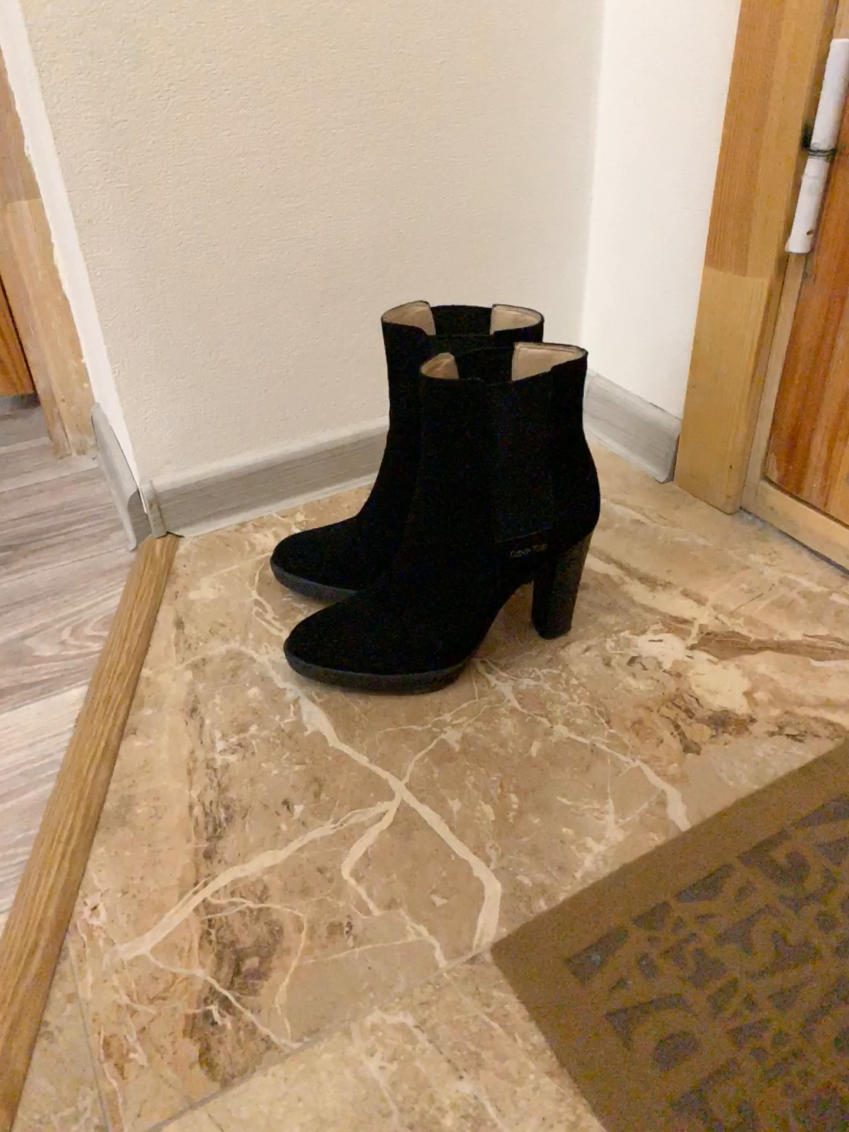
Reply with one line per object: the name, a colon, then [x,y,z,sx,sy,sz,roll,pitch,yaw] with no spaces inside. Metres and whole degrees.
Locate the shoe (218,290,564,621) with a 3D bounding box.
shoe: [-0.021,-0.078,0.627,0.214,0.198,0.087,-6,35,-5]

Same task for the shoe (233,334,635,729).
shoe: [0.006,-0.022,0.555,0.214,0.198,0.087,-11,35,-12]
